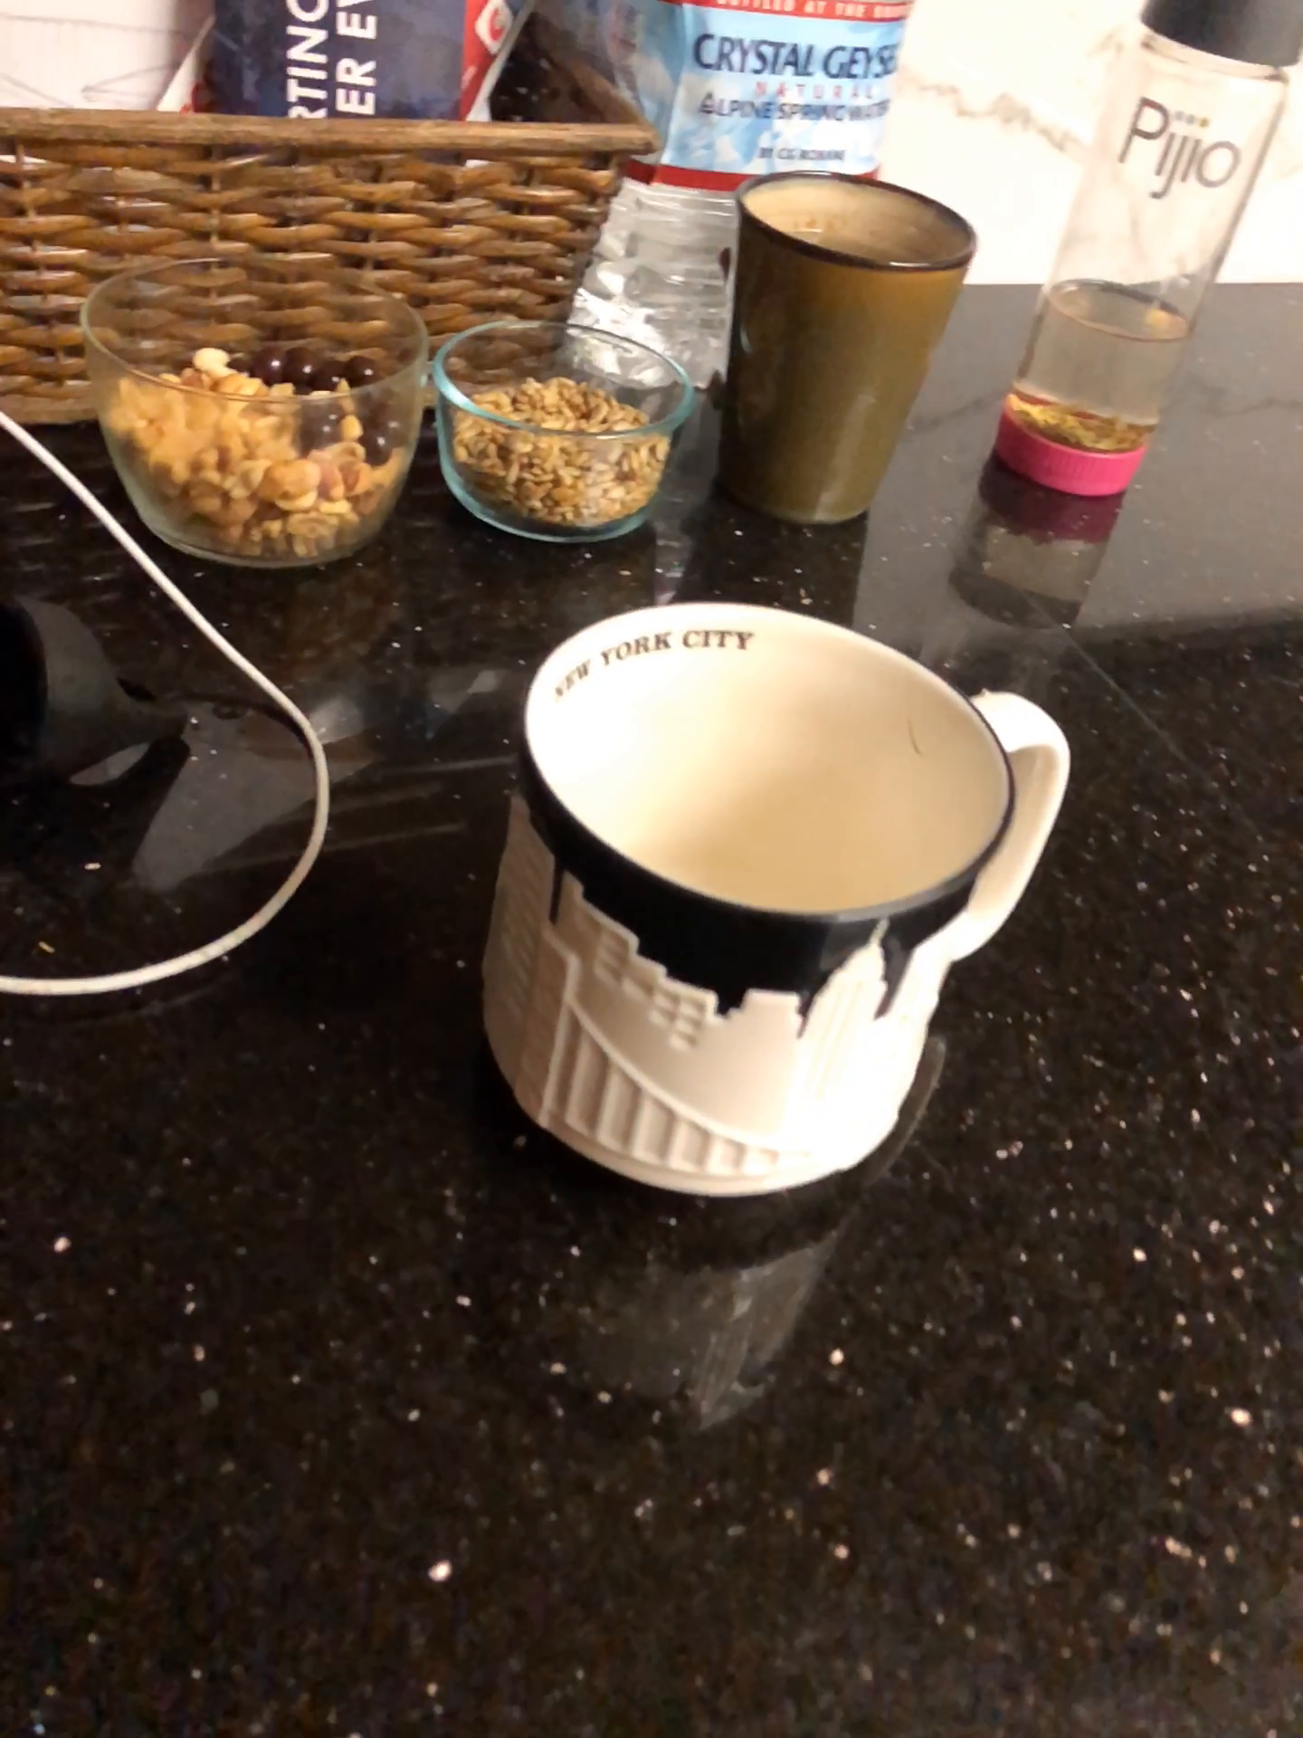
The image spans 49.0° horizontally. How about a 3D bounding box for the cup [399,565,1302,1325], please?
[{"bbox_3d":[0.034,0.007,0.328,0.150,0.090,0.120,-10,46,-23],"label":"cup"}]
